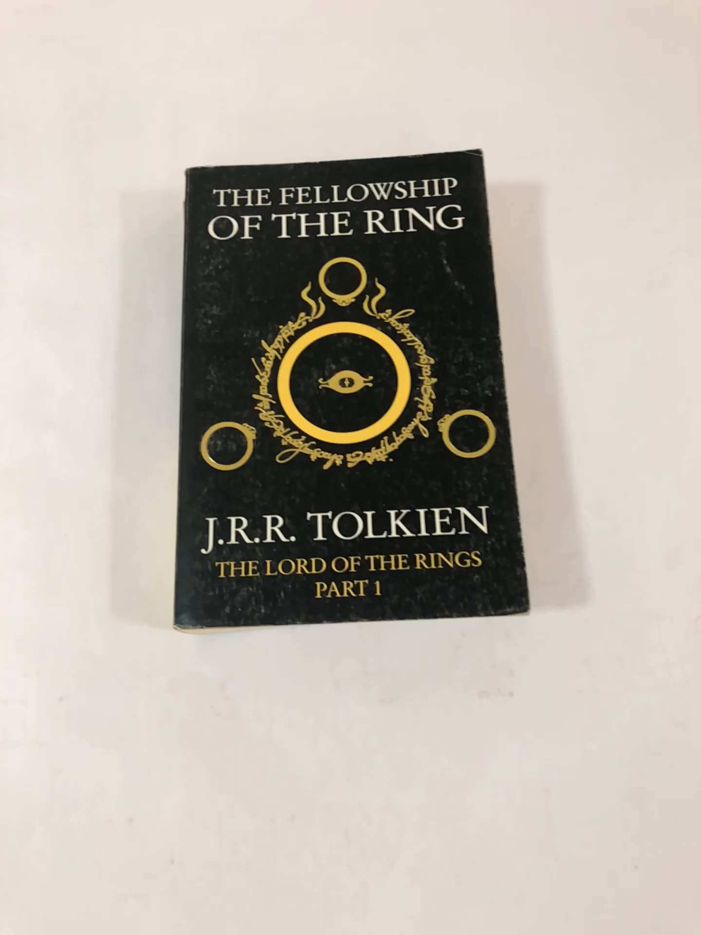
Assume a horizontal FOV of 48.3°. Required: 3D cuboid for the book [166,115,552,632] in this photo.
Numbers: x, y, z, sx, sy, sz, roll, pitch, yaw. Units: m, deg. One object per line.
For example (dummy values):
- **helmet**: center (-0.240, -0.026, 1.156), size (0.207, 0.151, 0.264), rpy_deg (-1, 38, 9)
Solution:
- **book**: center (0.007, -0.039, 0.316), size (0.130, 0.050, 0.200), rpy_deg (0, 72, 7)
